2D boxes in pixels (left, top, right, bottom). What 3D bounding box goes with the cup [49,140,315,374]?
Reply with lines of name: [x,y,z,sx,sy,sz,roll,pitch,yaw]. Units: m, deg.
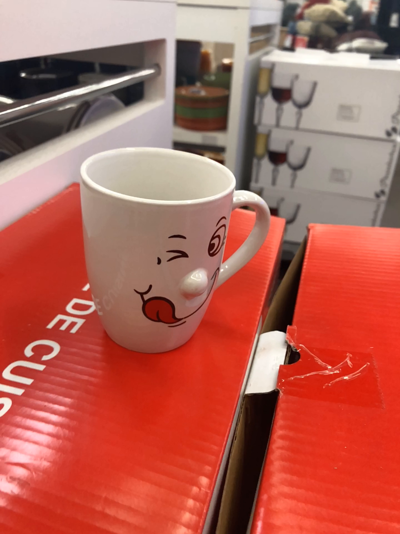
cup: [-0.015,-0.016,0.277,0.124,0.092,0.092,-12,33,-26]
